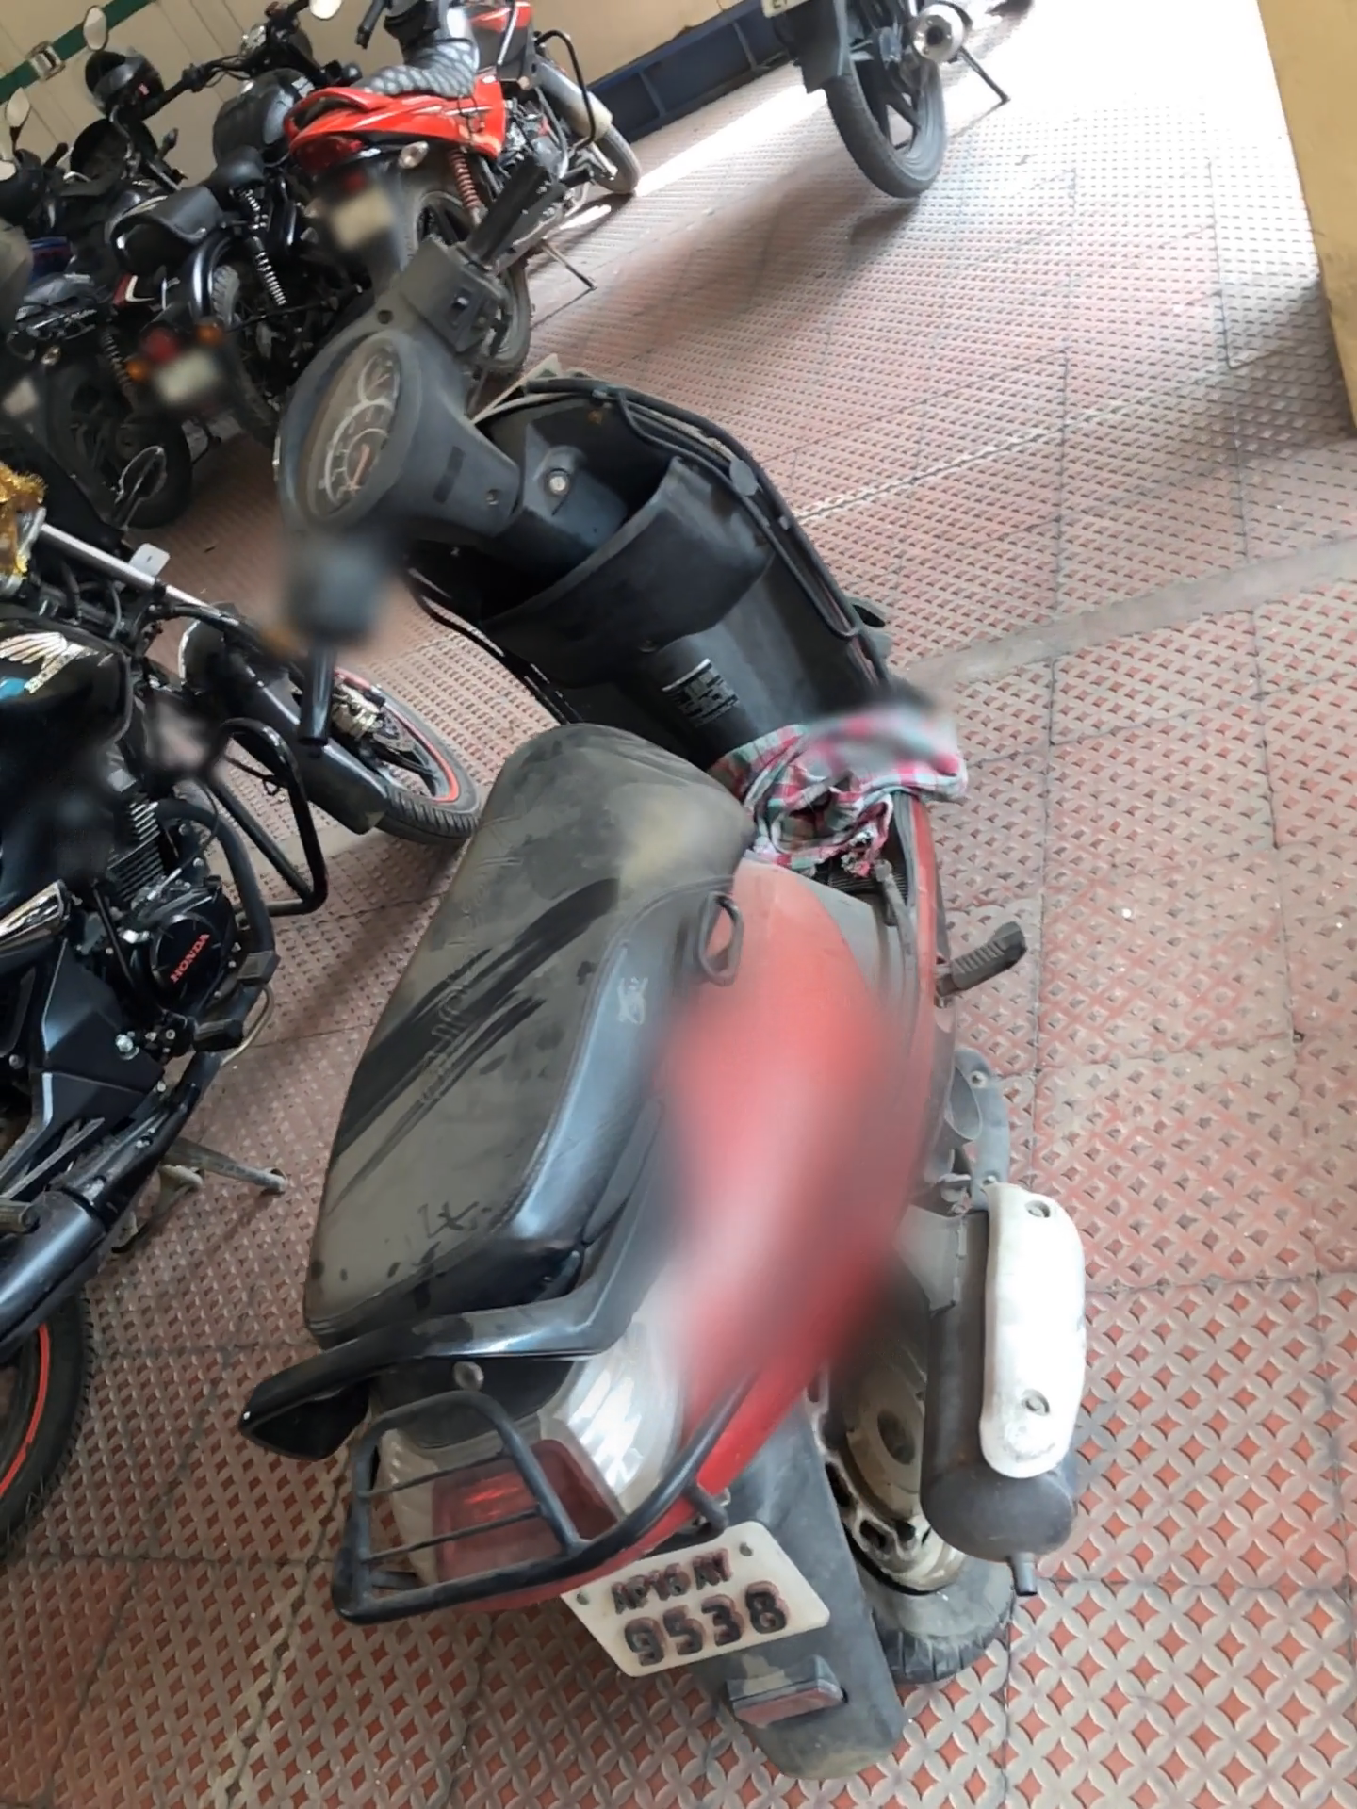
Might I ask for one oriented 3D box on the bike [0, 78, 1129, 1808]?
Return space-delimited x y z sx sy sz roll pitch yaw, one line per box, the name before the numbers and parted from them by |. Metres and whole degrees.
bike | -0.162 -0.088 1.668 0.599 1.030 1.659 -23 38 16
